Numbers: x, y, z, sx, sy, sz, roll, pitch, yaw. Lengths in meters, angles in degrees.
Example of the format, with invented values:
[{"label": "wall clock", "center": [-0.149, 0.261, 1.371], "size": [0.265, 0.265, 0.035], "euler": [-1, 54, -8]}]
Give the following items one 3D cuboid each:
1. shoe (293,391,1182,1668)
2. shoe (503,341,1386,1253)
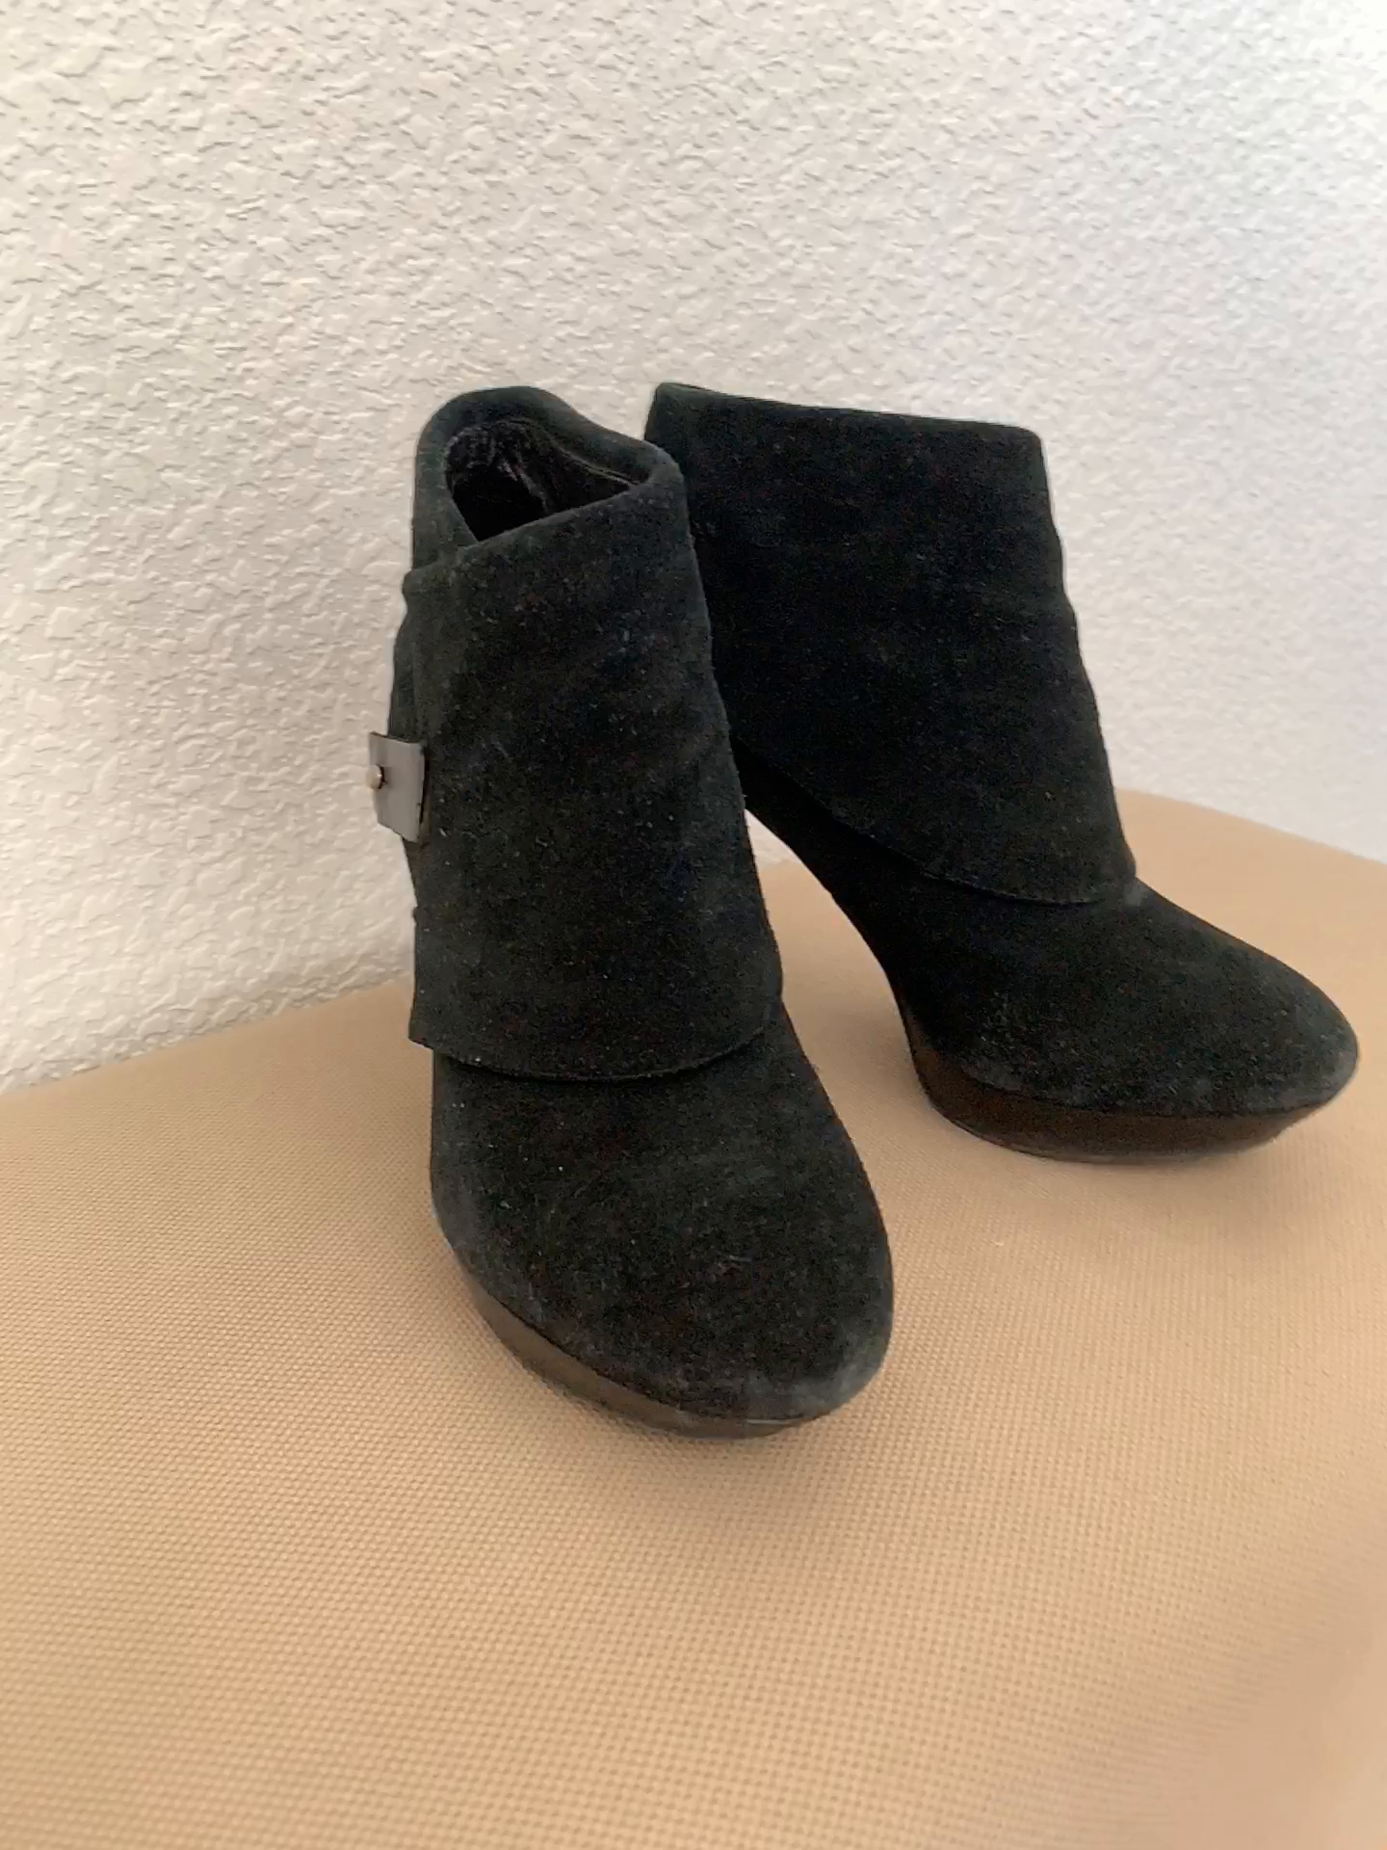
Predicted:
[{"label": "shoe", "center": [-0.018, -0.009, 0.297], "size": [0.090, 0.166, 0.218], "euler": [-8, 28, -18]}, {"label": "shoe", "center": [0.066, -0.049, 0.364], "size": [0.218, 0.166, 0.090], "euler": [19, 31, 30]}]
